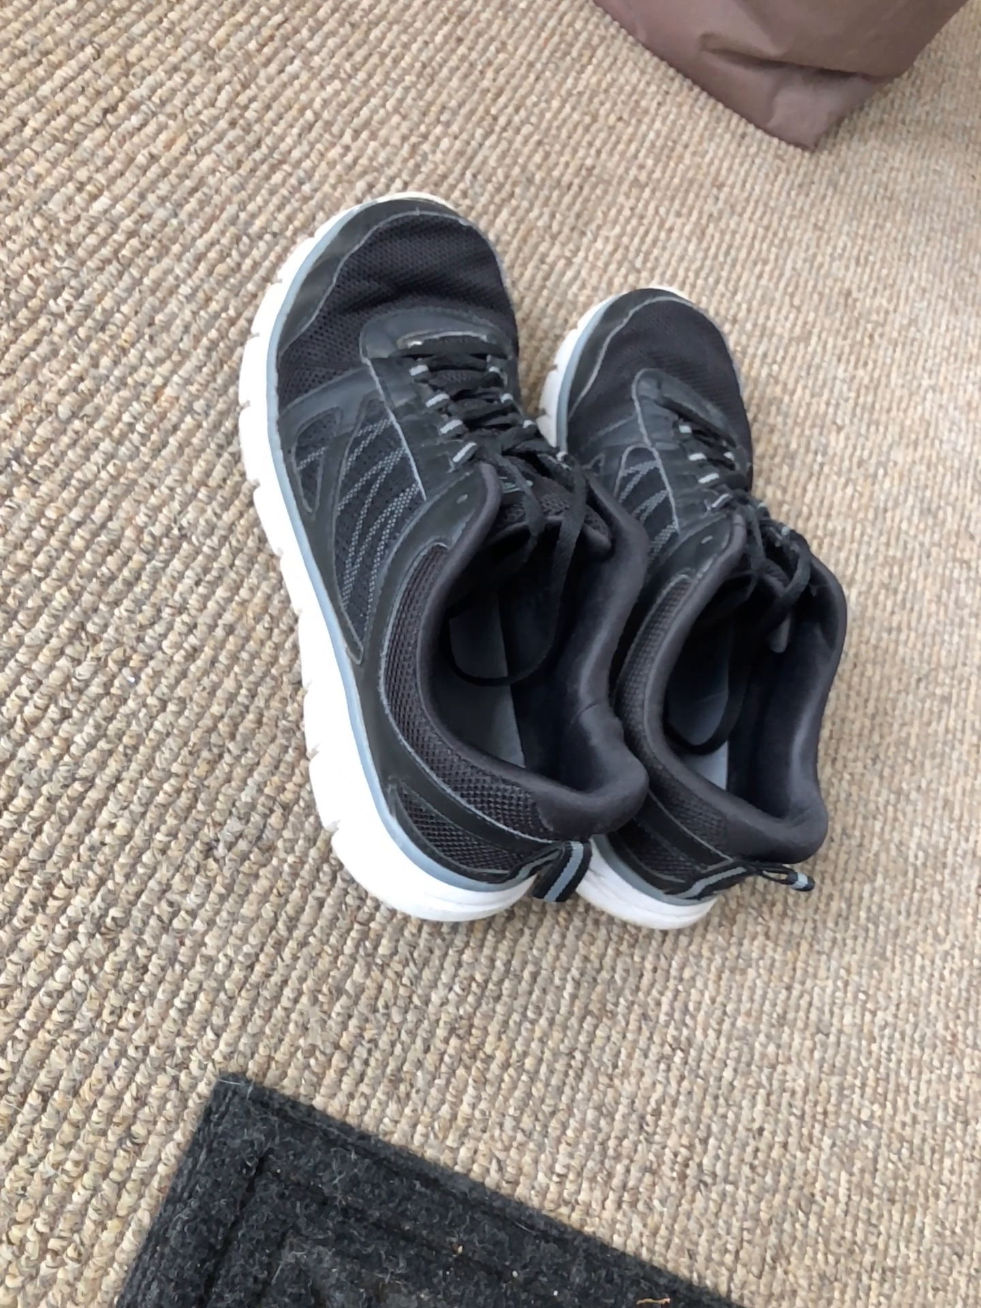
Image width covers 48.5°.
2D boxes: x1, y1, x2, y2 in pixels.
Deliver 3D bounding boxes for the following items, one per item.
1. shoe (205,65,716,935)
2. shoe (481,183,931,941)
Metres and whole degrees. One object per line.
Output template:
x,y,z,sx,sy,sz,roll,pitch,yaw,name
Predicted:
-0.023,-0.050,0.396,0.119,0.100,0.275,4,68,-32,shoe
0.080,-0.034,0.457,0.120,0.110,0.276,15,62,-28,shoe
